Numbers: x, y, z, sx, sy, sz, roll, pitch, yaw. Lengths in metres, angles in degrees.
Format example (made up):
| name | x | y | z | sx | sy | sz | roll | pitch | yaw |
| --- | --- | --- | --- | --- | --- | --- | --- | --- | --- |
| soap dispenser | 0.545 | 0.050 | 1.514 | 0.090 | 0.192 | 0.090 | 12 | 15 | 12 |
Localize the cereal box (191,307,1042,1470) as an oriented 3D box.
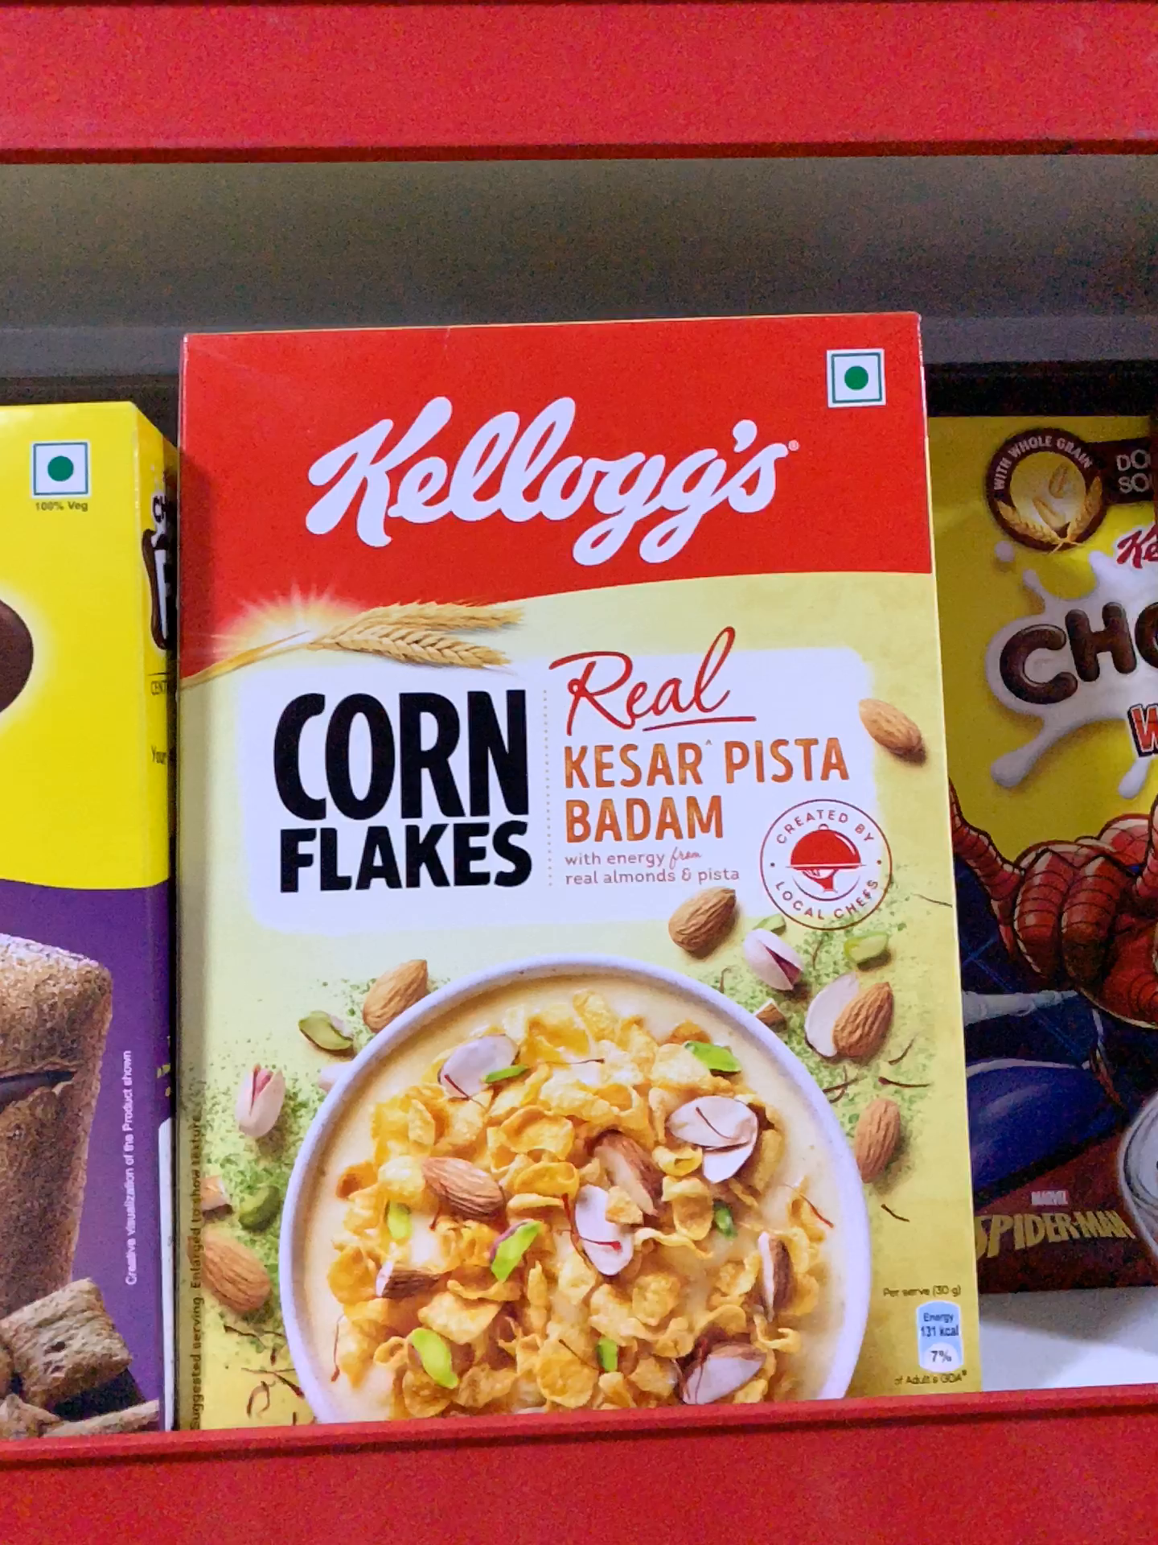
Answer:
| name | x | y | z | sx | sy | sz | roll | pitch | yaw |
| --- | --- | --- | --- | --- | --- | --- | --- | --- | --- |
| cereal box | 0.005 | 0.023 | 0.301 | 0.180 | 0.250 | 0.070 | -2 | -4 | -1 |
